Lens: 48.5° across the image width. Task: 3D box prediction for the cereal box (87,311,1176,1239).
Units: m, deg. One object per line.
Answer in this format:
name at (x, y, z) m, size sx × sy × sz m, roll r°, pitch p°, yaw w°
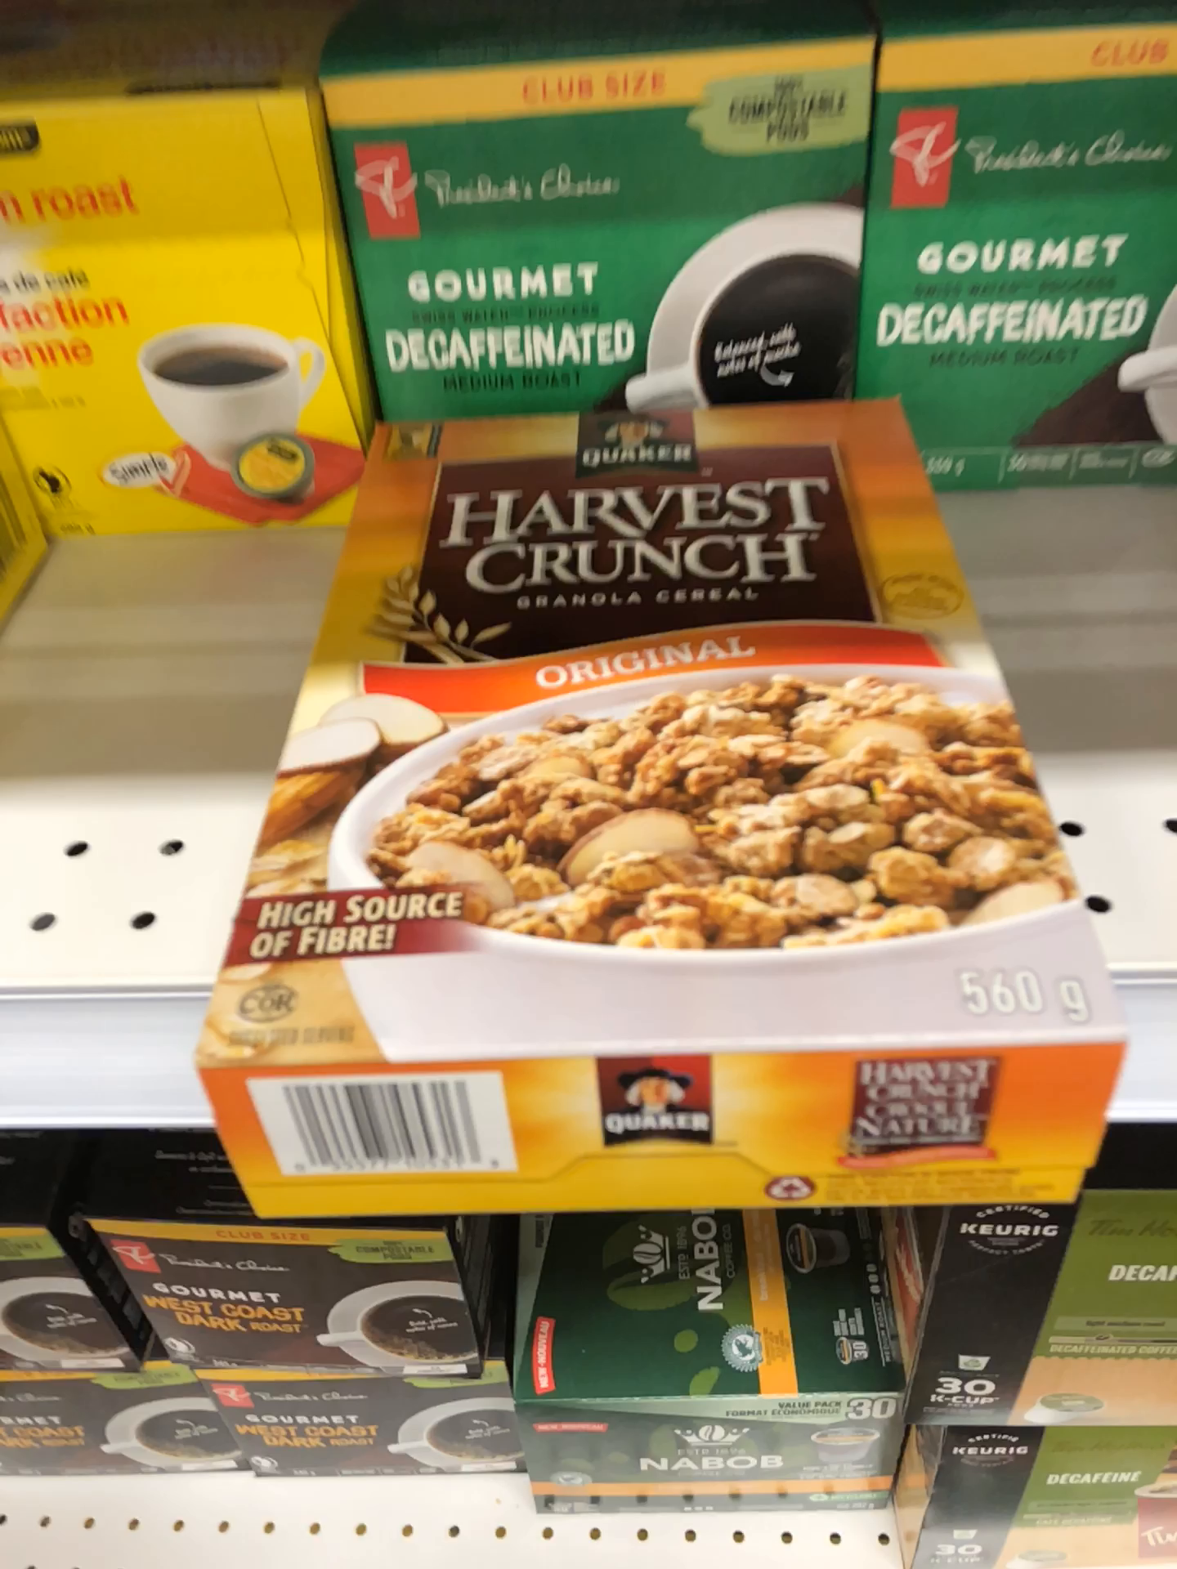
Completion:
cereal box at (0.010, -0.032, 0.322) m, size 0.170 × 0.050 × 0.281 m, roll -2°, pitch 41°, yaw 3°
